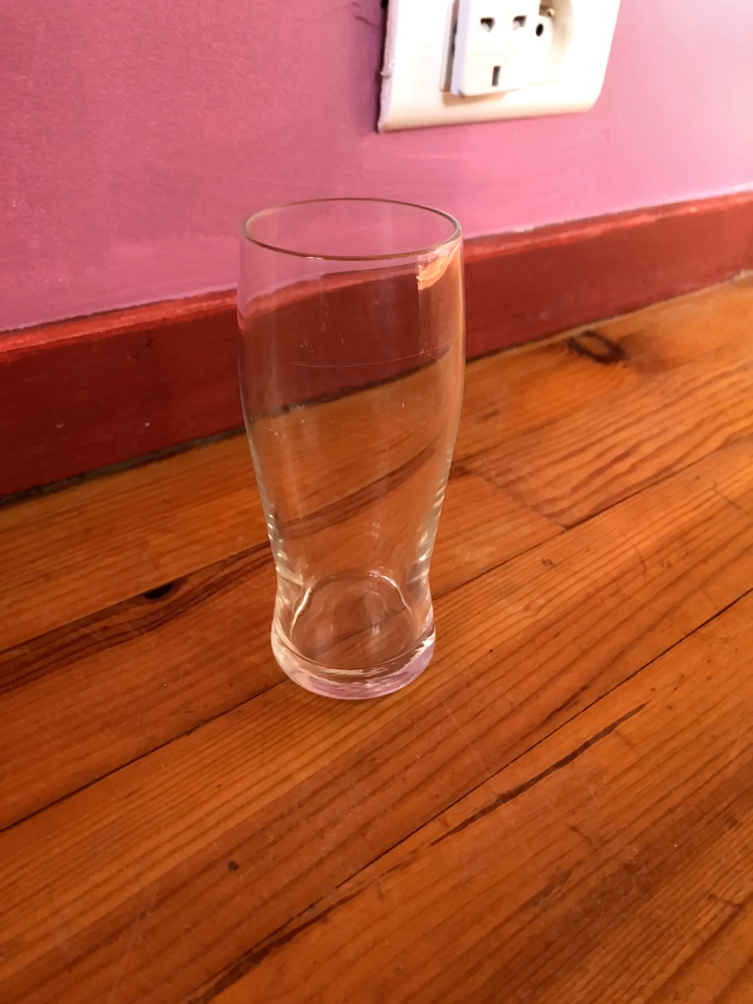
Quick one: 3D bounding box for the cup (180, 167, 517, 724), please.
[{"bbox_3d":[-0.009,-0.017,0.253,0.060,0.143,0.064,2,31,-1],"label":"cup"}]
